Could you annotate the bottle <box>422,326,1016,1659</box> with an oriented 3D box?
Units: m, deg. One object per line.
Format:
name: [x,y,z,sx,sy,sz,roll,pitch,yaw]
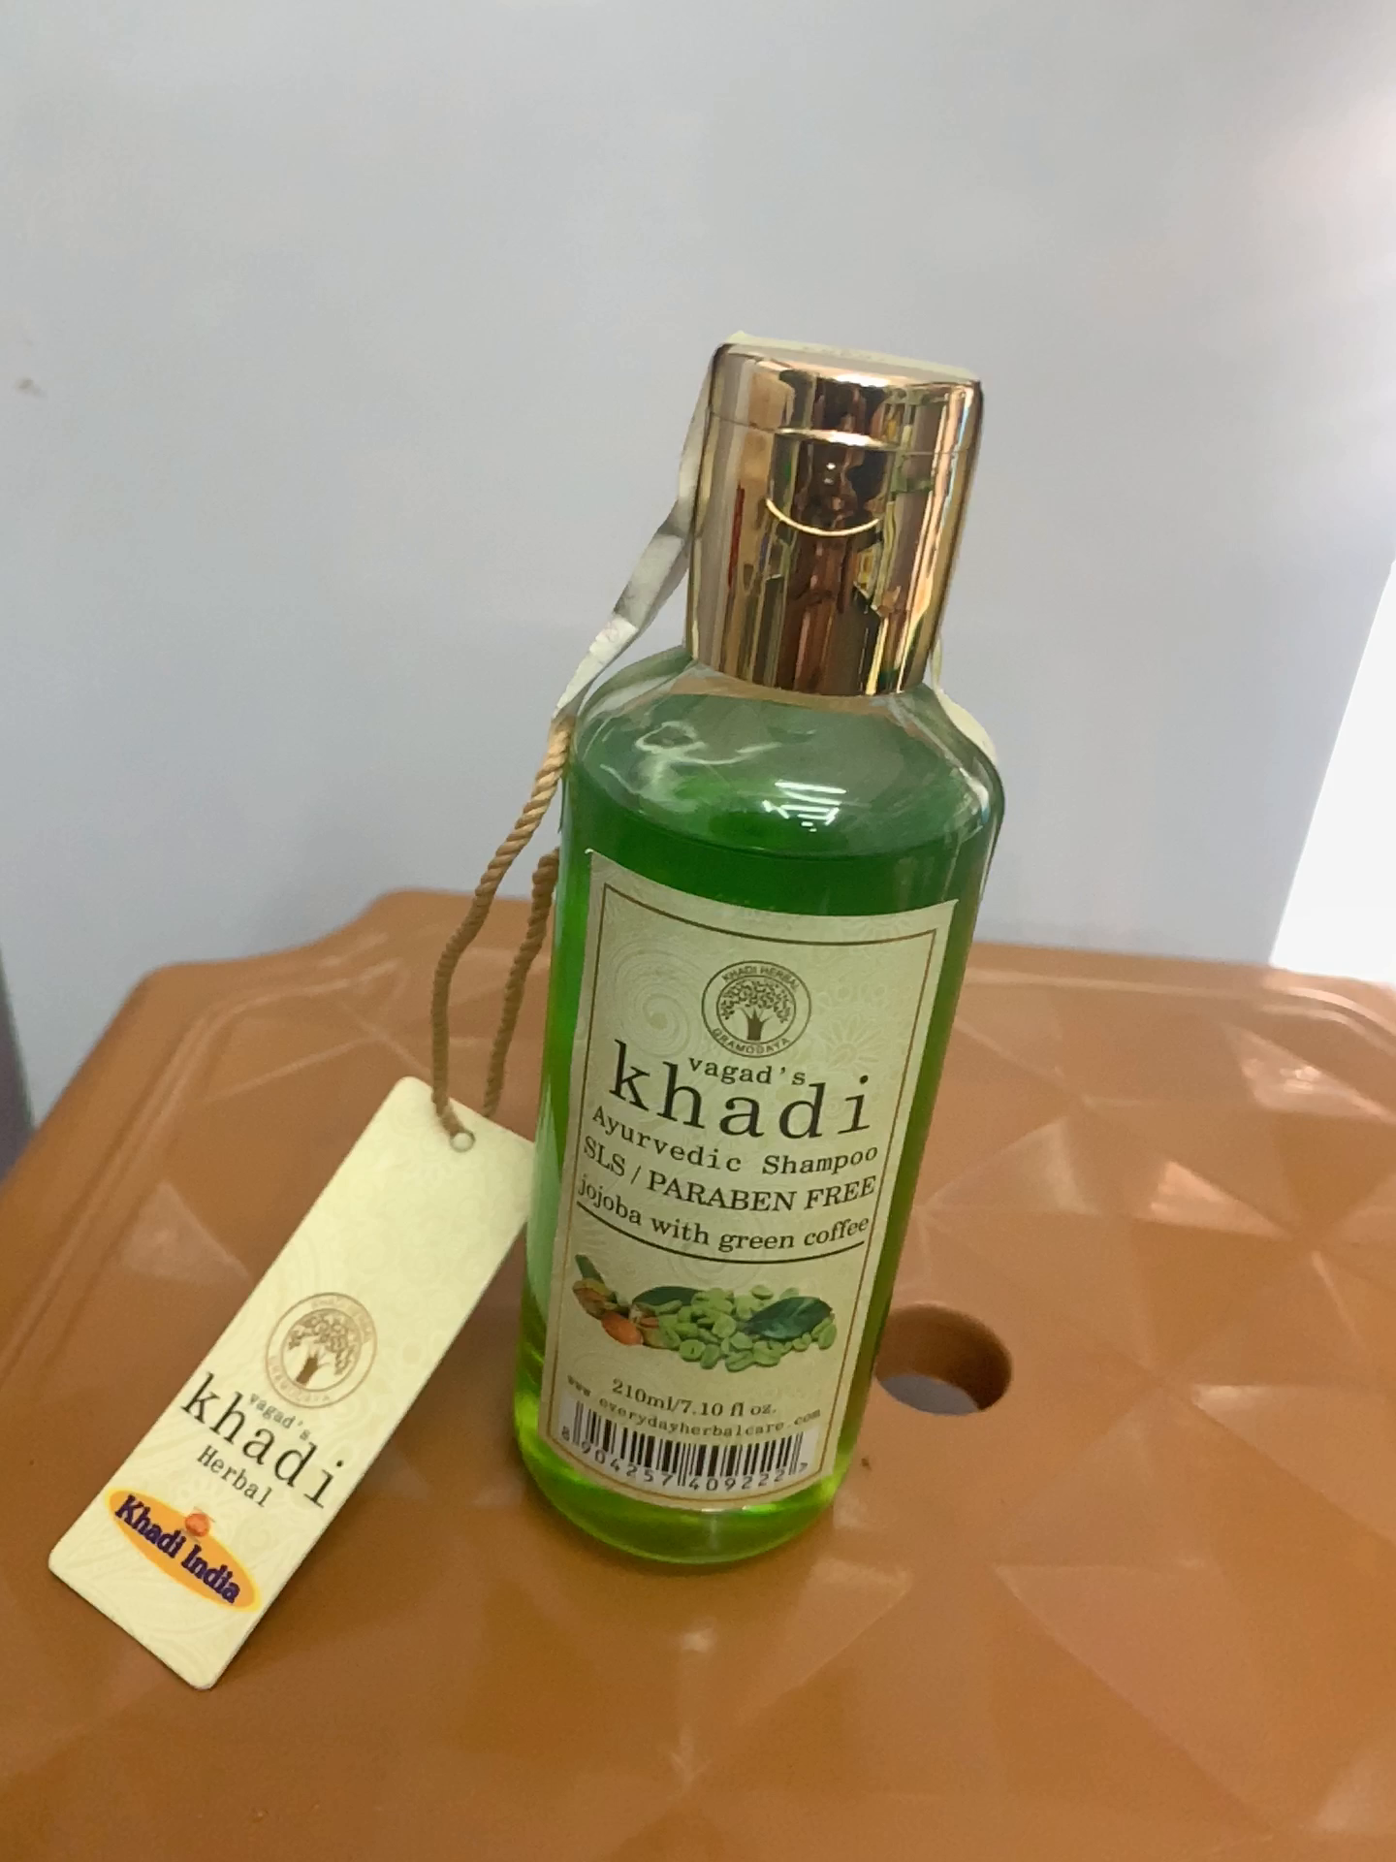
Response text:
bottle: [-0.001,0.012,0.178,0.050,0.149,0.050,4,27,-2]
